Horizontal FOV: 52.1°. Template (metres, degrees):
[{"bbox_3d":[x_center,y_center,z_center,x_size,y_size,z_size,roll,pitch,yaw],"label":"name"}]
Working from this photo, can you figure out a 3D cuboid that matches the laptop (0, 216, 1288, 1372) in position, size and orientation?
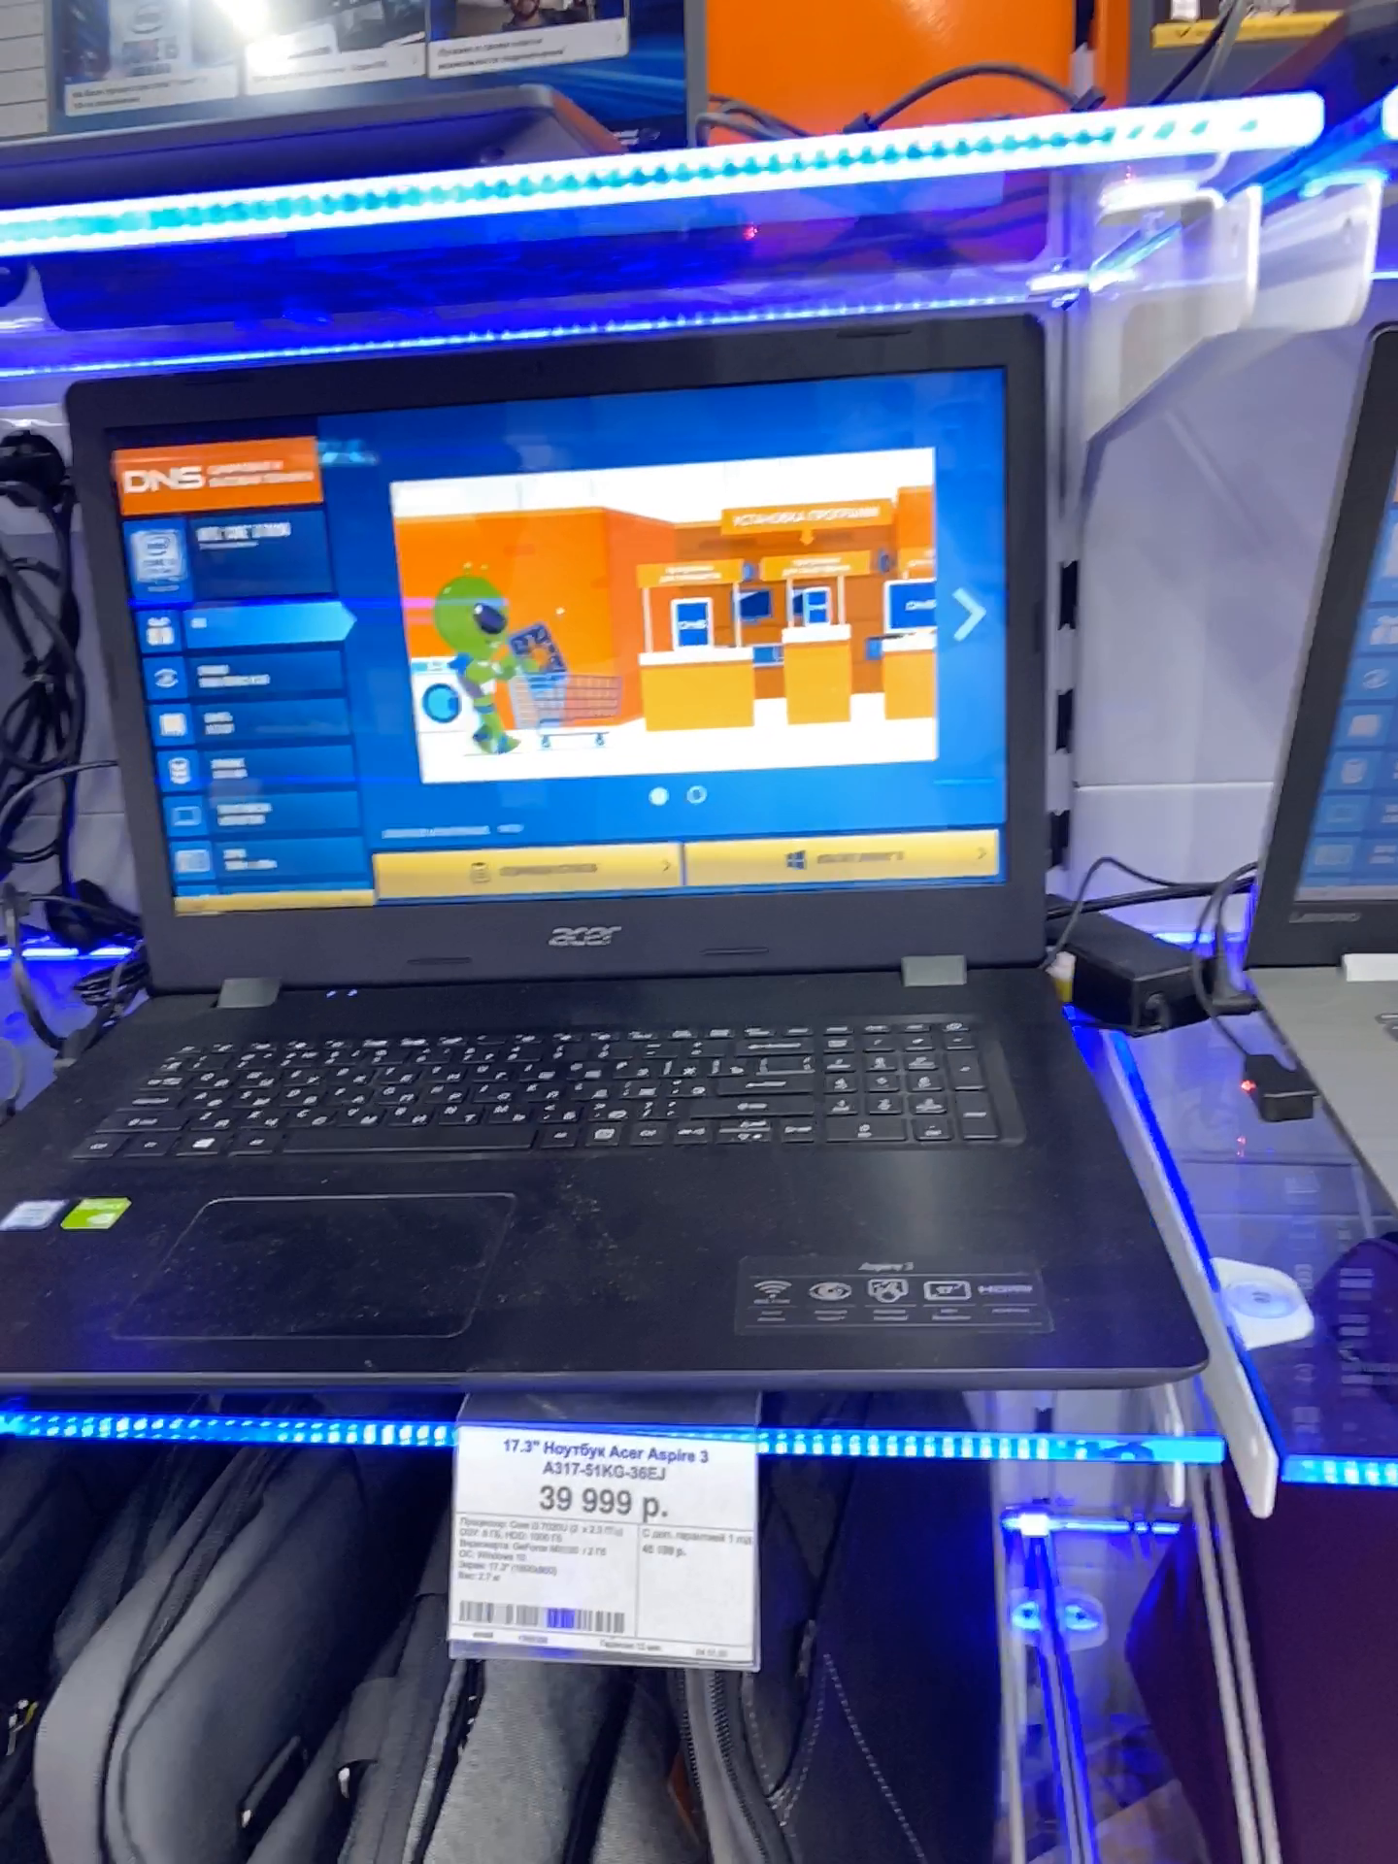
[{"bbox_3d":[-0.073,-0.064,0.507,0.422,0.273,0.328,-2,19,5],"label":"laptop"}]
